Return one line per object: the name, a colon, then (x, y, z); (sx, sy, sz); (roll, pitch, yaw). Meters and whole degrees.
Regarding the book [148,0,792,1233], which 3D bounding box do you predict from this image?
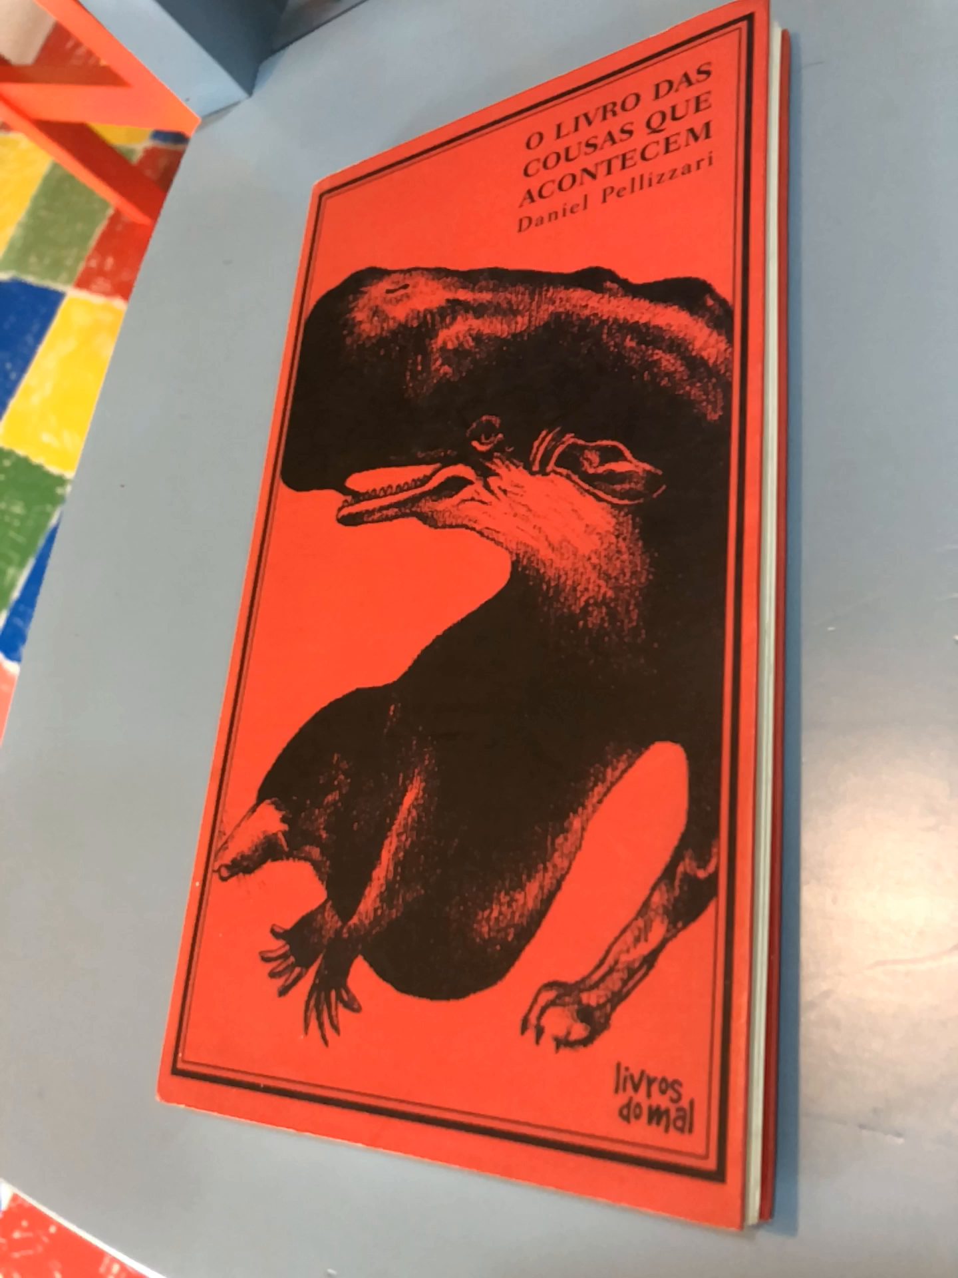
book: (0.000, -0.015, 0.198); (0.110, 0.016, 0.200); (-7, 68, 34)
